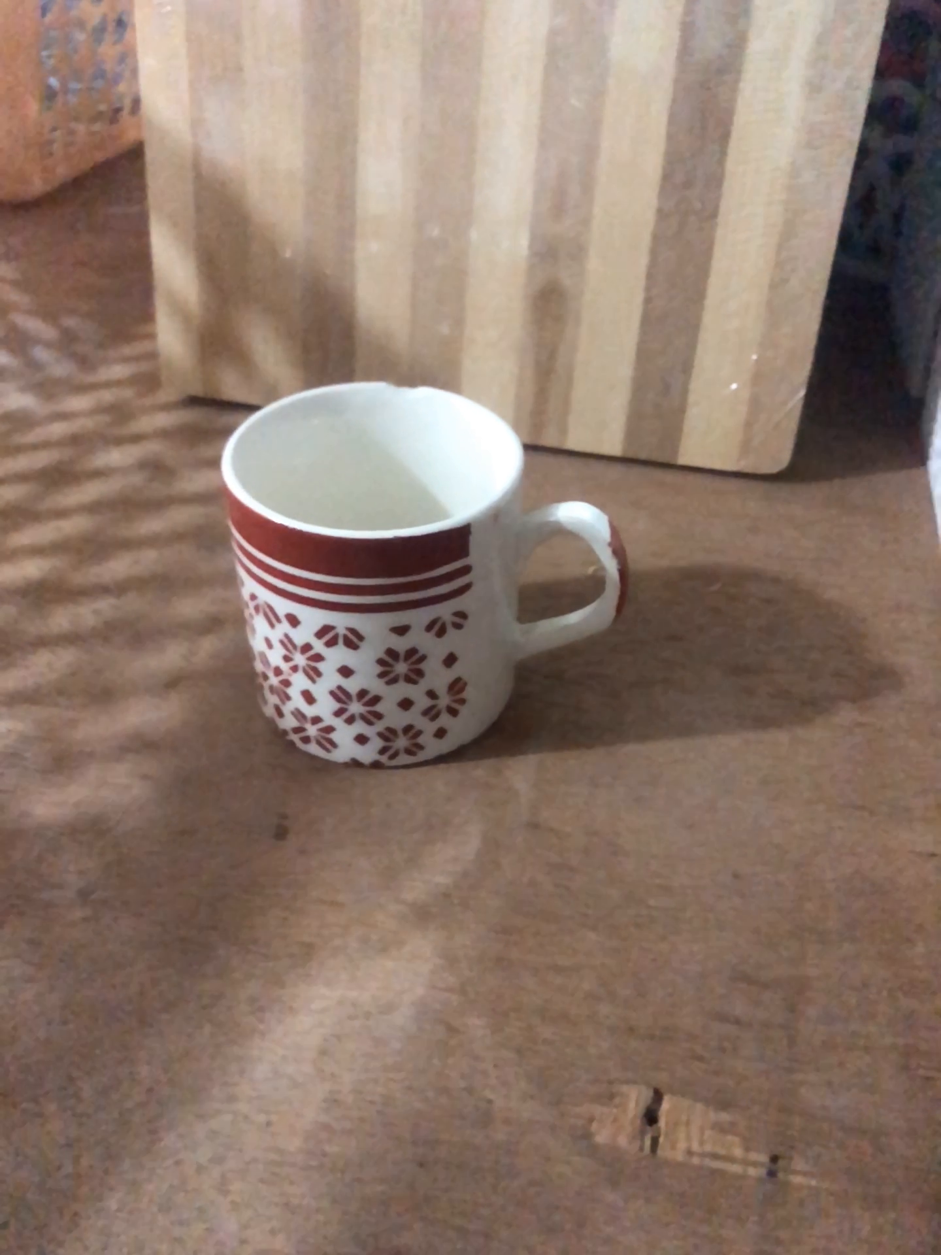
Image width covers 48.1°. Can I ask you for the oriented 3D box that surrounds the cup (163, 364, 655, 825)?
[{"bbox_3d":[-0.009,-0.008,0.239,0.090,0.080,0.060,3,40,4],"label":"cup"}]
